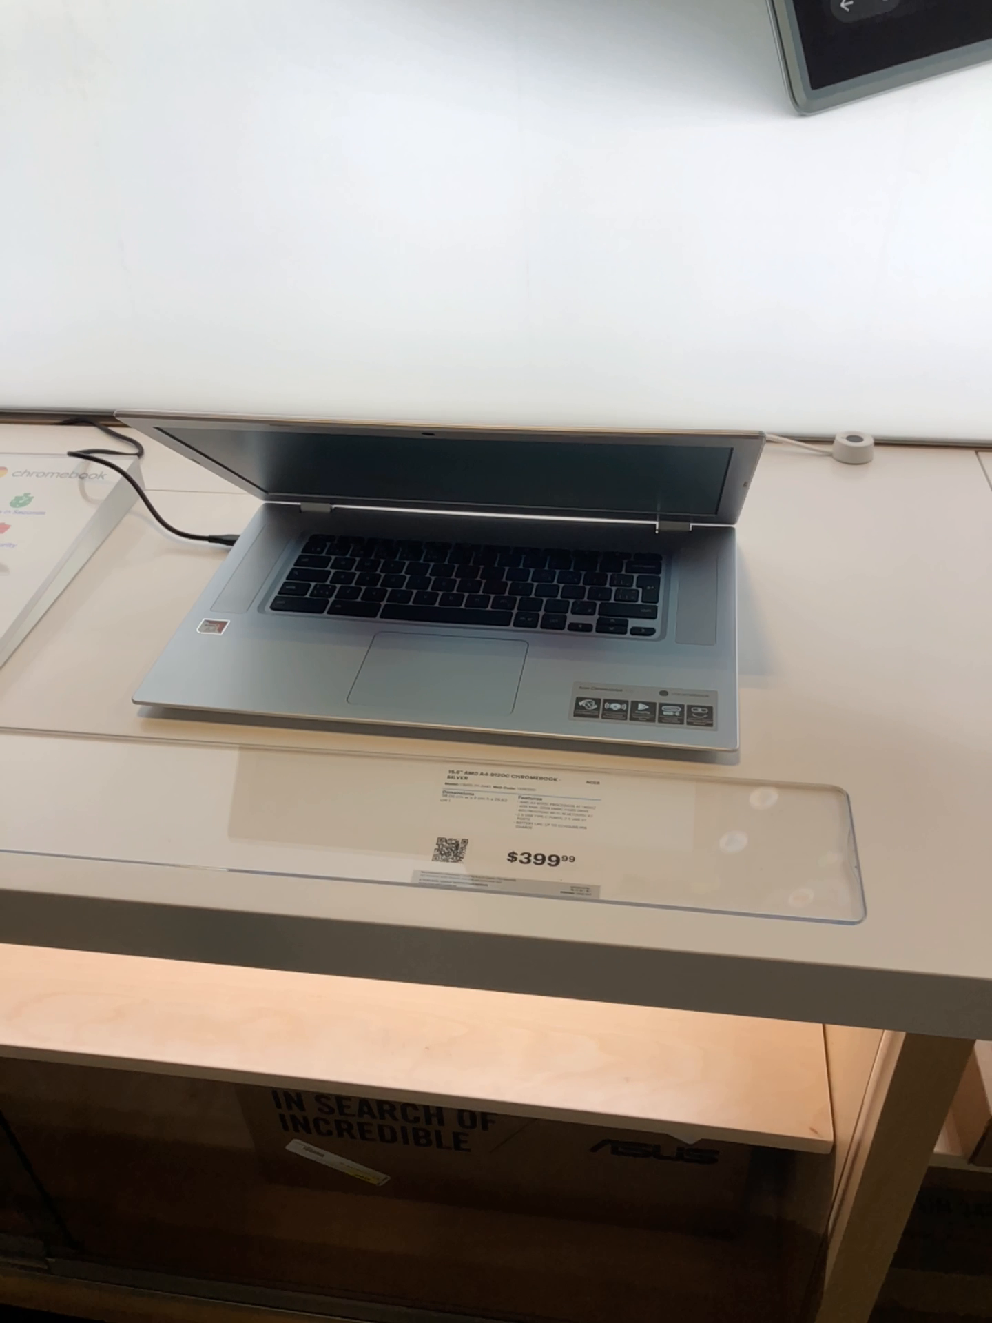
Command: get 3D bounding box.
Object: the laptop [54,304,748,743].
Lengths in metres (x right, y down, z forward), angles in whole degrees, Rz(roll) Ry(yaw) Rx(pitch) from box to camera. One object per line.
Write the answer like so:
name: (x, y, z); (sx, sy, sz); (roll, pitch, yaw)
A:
laptop: (-0.034, -0.106, 0.710); (0.368, 0.166, 0.256); (4, 37, 9)
